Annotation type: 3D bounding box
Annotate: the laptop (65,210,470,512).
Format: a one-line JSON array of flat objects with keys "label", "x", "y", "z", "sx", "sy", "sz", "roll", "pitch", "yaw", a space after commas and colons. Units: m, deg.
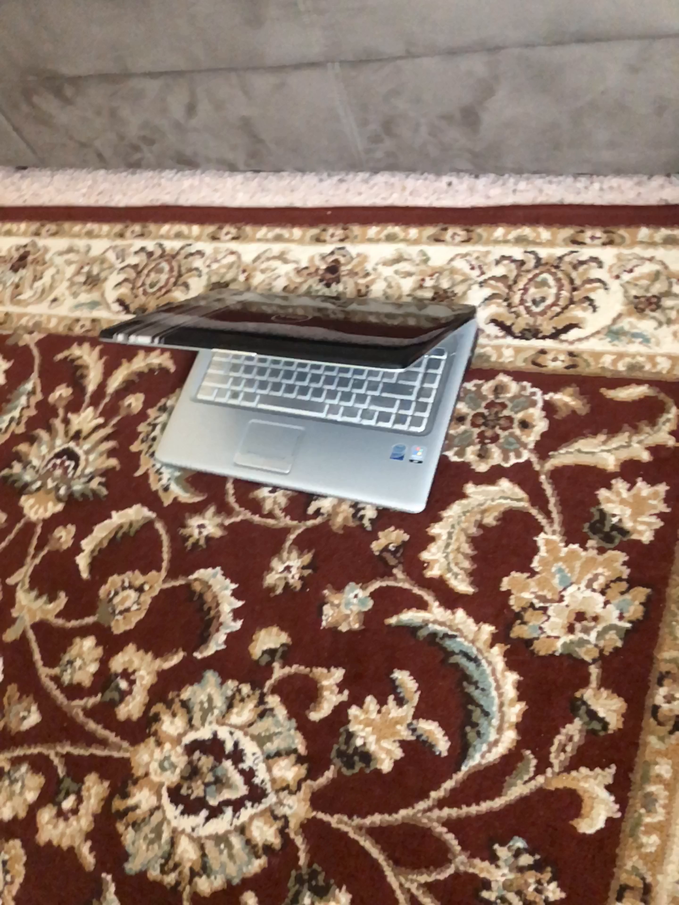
[{"label": "laptop", "x": -0.066, "y": -0.108, "z": 0.813, "sx": 0.342, "sy": 0.164, "sz": 0.244, "roll": 9, "pitch": 66, "yaw": 23}]
